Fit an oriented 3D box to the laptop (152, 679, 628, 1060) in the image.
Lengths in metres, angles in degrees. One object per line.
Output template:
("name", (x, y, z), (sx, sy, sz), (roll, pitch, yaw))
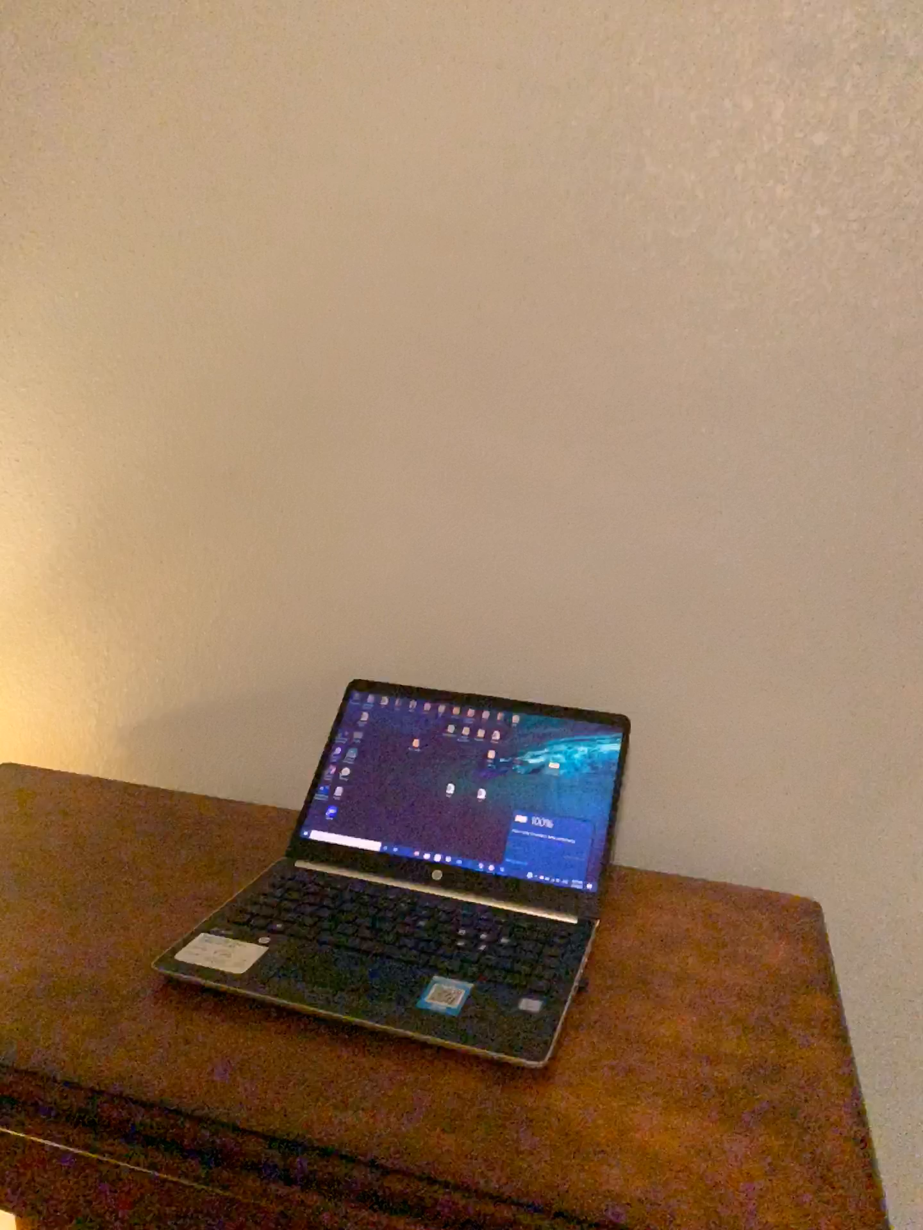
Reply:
("laptop", (-0.037, 0.191, 0.870), (0.317, 0.152, 0.368), (7, 10, 17))
